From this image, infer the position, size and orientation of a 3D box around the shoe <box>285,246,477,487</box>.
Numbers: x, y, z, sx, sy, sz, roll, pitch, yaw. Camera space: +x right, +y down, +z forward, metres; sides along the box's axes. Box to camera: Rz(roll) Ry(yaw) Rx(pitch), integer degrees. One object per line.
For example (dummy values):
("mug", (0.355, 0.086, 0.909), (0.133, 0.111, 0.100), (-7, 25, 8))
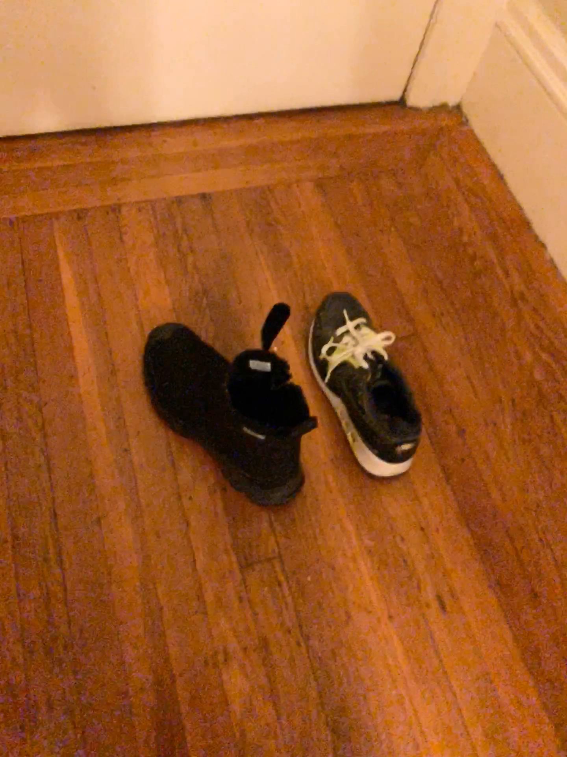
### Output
("shoe", (0.117, -0.022, 0.785), (0.120, 0.100, 0.291), (-16, 66, -16))

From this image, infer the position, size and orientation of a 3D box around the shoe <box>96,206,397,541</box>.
("shoe", (-0.058, 0.002, 0.729), (0.160, 0.239, 0.310), (-36, 73, -23))
